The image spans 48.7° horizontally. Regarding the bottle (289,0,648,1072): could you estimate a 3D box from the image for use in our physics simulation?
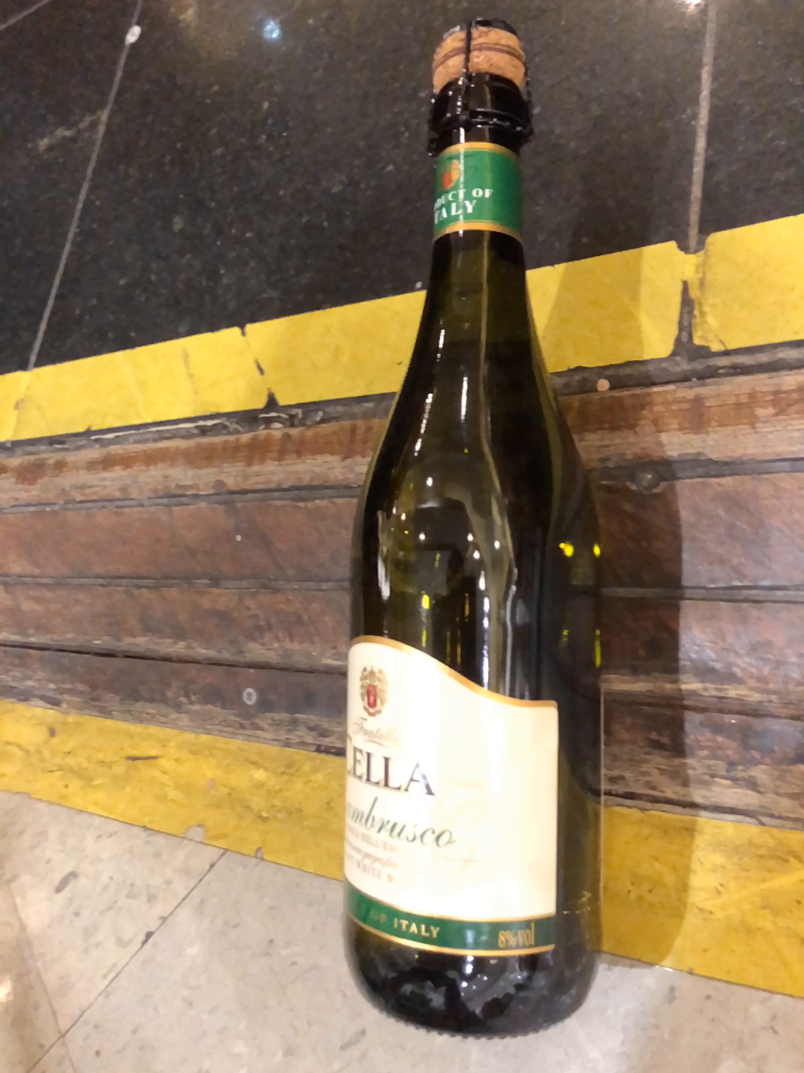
[{"bbox_3d":[0.020,-0.016,0.273,0.090,0.060,0.310,-1,88,35],"label":"bottle"}]
